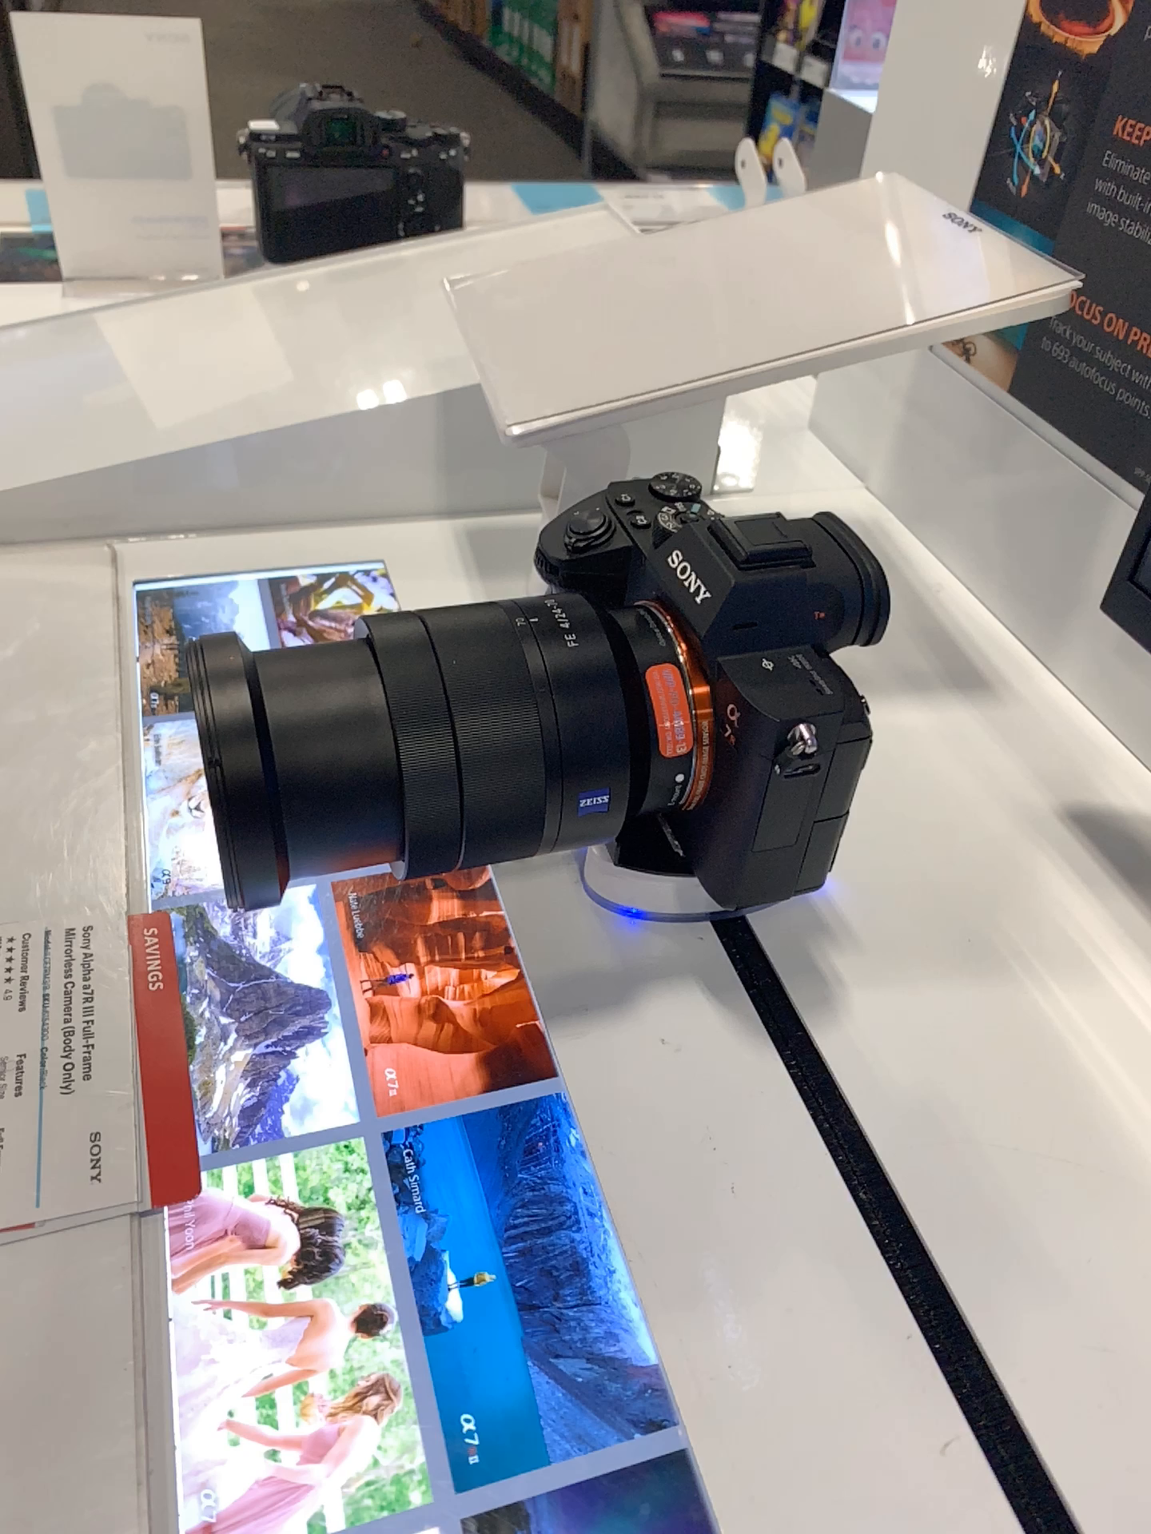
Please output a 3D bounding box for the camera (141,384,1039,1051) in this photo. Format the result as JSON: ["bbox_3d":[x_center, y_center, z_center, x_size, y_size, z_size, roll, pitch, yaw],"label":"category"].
[{"bbox_3d":[-0.006,-0.026,0.330,0.193,0.099,0.131,-10,41,-18],"label":"camera"}]
